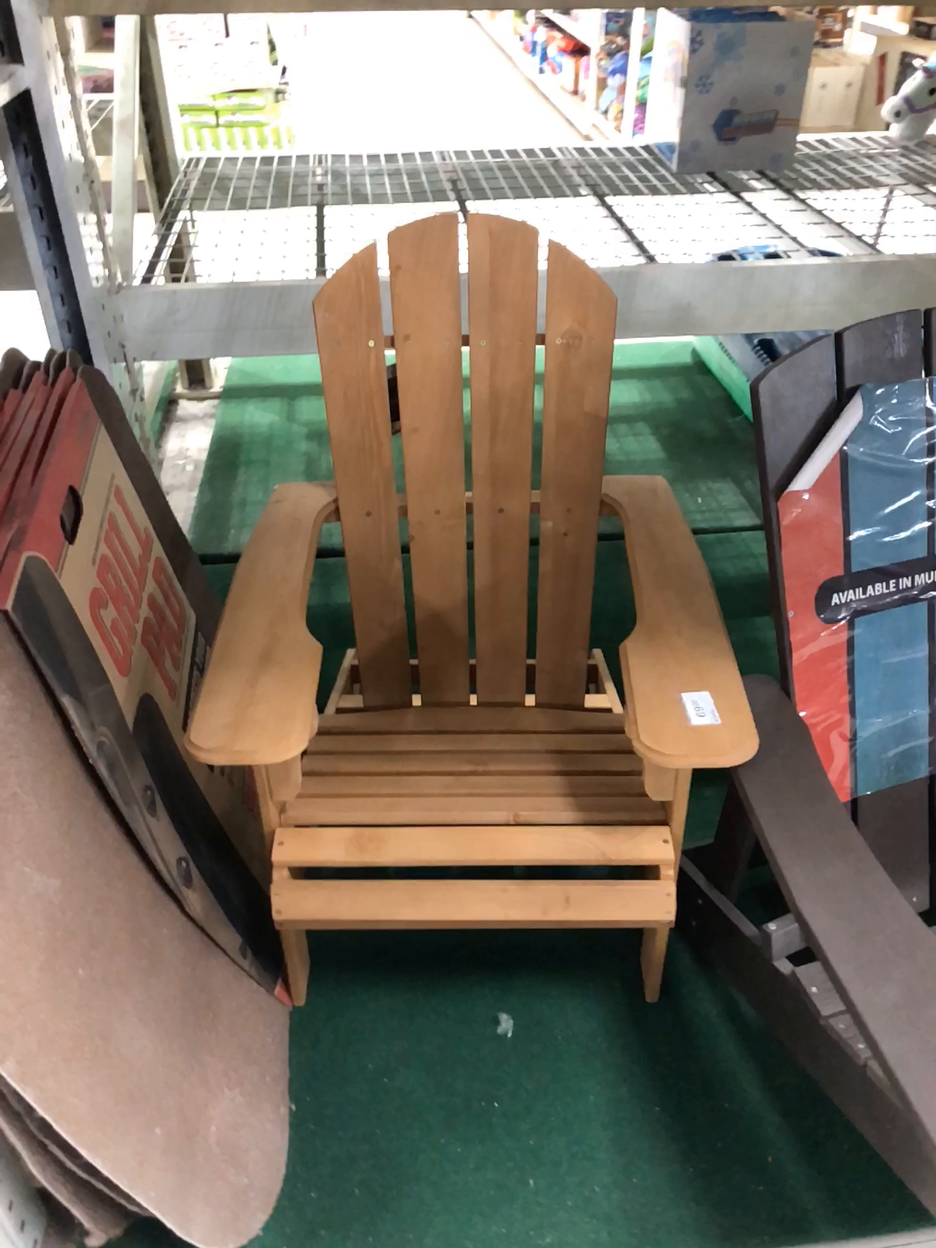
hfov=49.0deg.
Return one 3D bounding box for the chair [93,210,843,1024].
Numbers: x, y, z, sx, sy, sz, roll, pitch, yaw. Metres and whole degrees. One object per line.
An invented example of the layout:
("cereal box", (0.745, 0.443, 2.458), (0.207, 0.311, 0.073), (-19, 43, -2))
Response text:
("chair", (0.003, -0.017, 1.417), (0.641, 0.885, 0.690), (0, 36, 0))
